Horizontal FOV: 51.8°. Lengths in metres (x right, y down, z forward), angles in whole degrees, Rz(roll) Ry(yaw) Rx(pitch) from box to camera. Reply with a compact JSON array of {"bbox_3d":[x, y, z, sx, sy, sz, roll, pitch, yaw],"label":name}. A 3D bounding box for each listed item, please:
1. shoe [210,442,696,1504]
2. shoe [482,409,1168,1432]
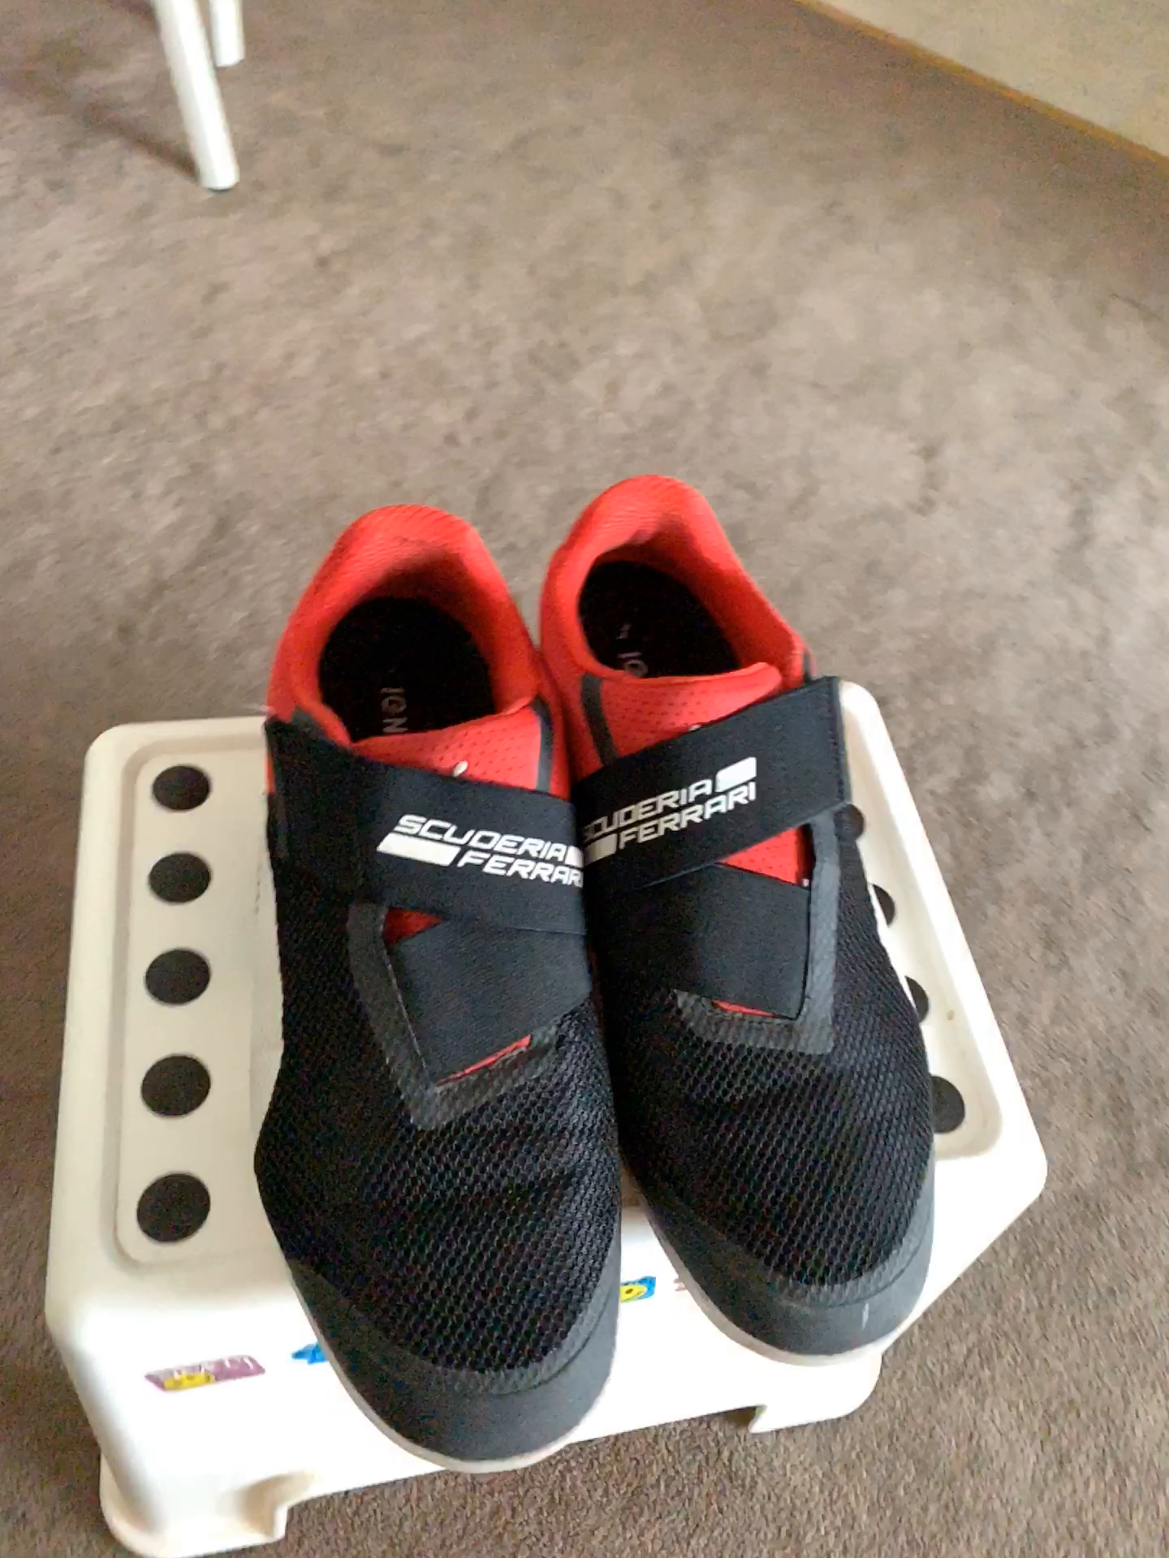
[{"bbox_3d":[-0.055,0.035,0.366,0.100,0.089,0.302,-3,57,-11],"label":"shoe"},{"bbox_3d":[0.051,0.021,0.380,0.110,0.089,0.302,-6,57,-13],"label":"shoe"}]
